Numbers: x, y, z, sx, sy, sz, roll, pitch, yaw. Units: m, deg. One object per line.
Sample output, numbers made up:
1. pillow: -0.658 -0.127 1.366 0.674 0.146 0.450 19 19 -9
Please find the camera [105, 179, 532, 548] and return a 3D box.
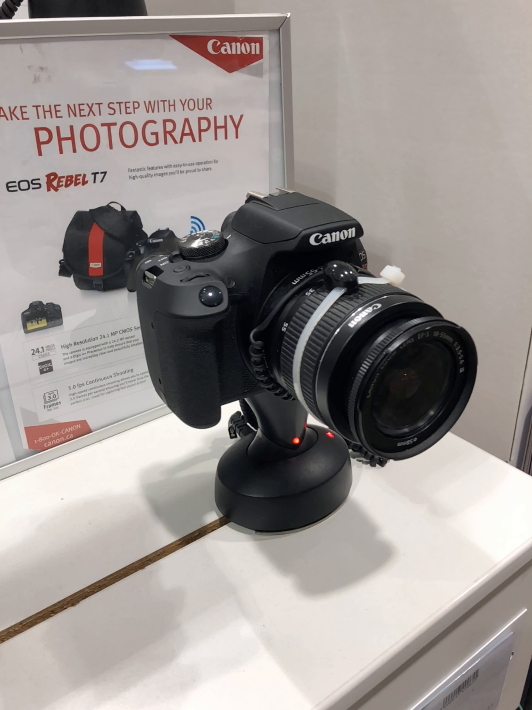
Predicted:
1. camera: 0.023 -0.018 0.281 0.140 0.090 0.151 -18 30 -27
